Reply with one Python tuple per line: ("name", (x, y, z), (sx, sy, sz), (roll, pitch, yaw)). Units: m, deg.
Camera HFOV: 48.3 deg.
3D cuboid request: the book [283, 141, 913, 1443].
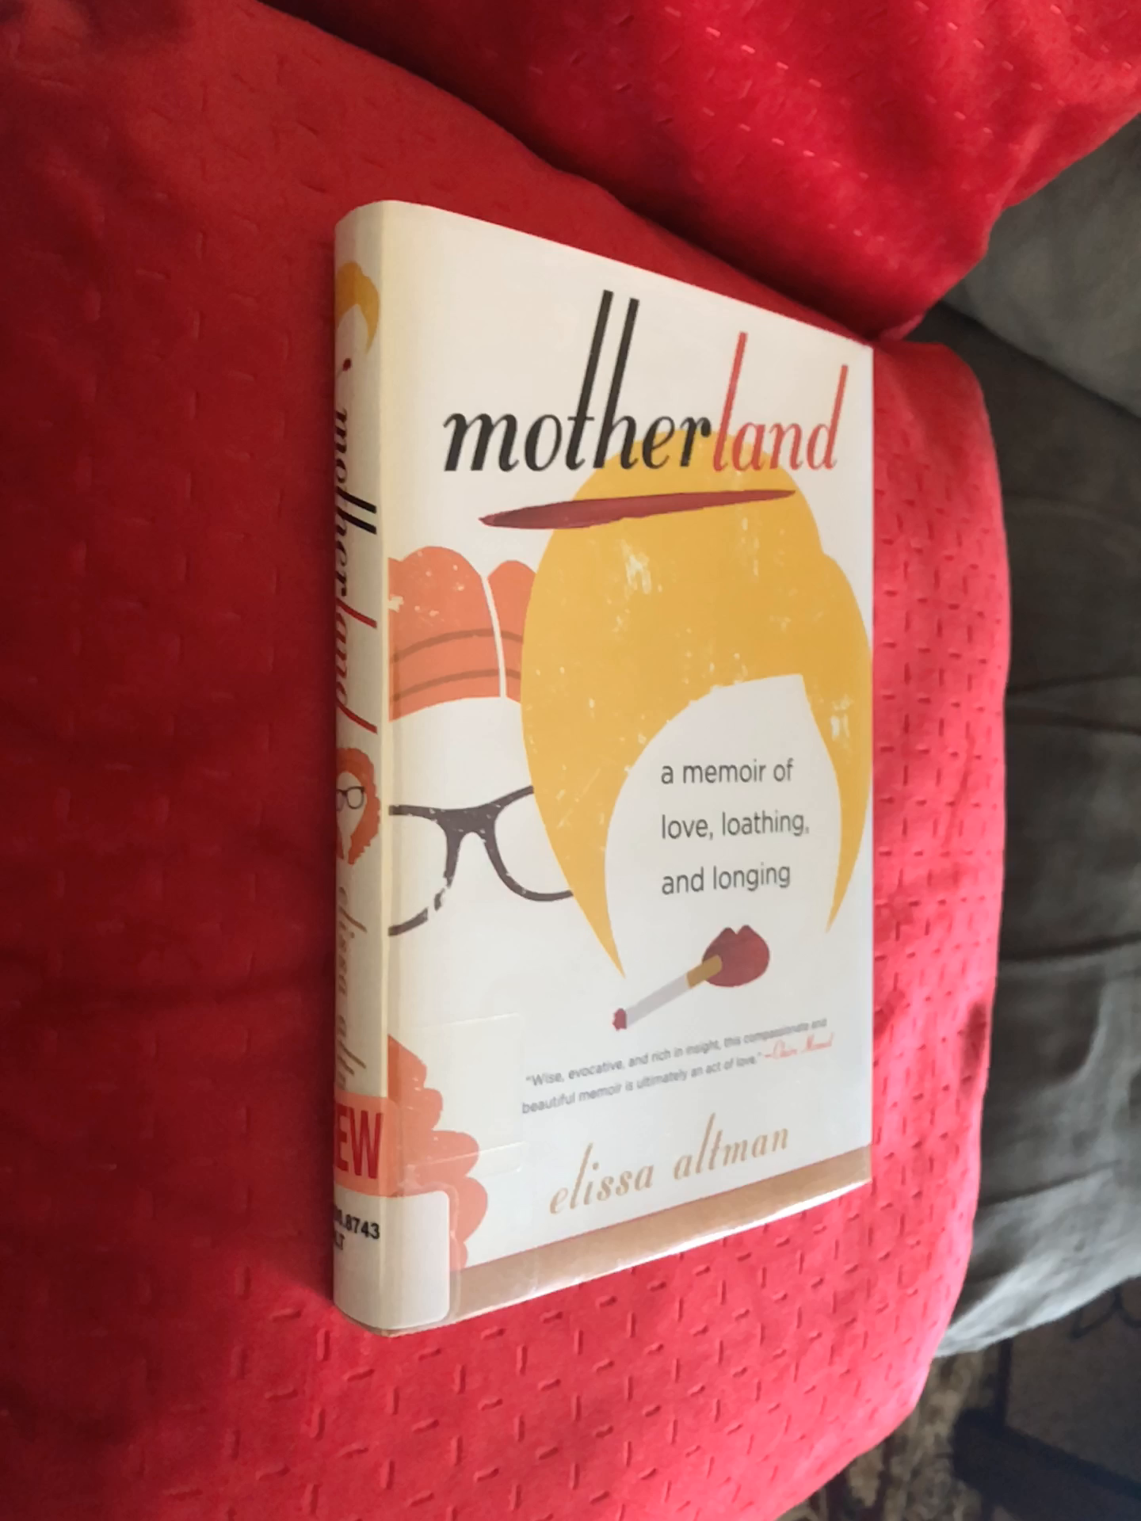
("book", (0.013, 0.006, 0.267), (0.141, 0.040, 0.210), (-1, 92, -41))
